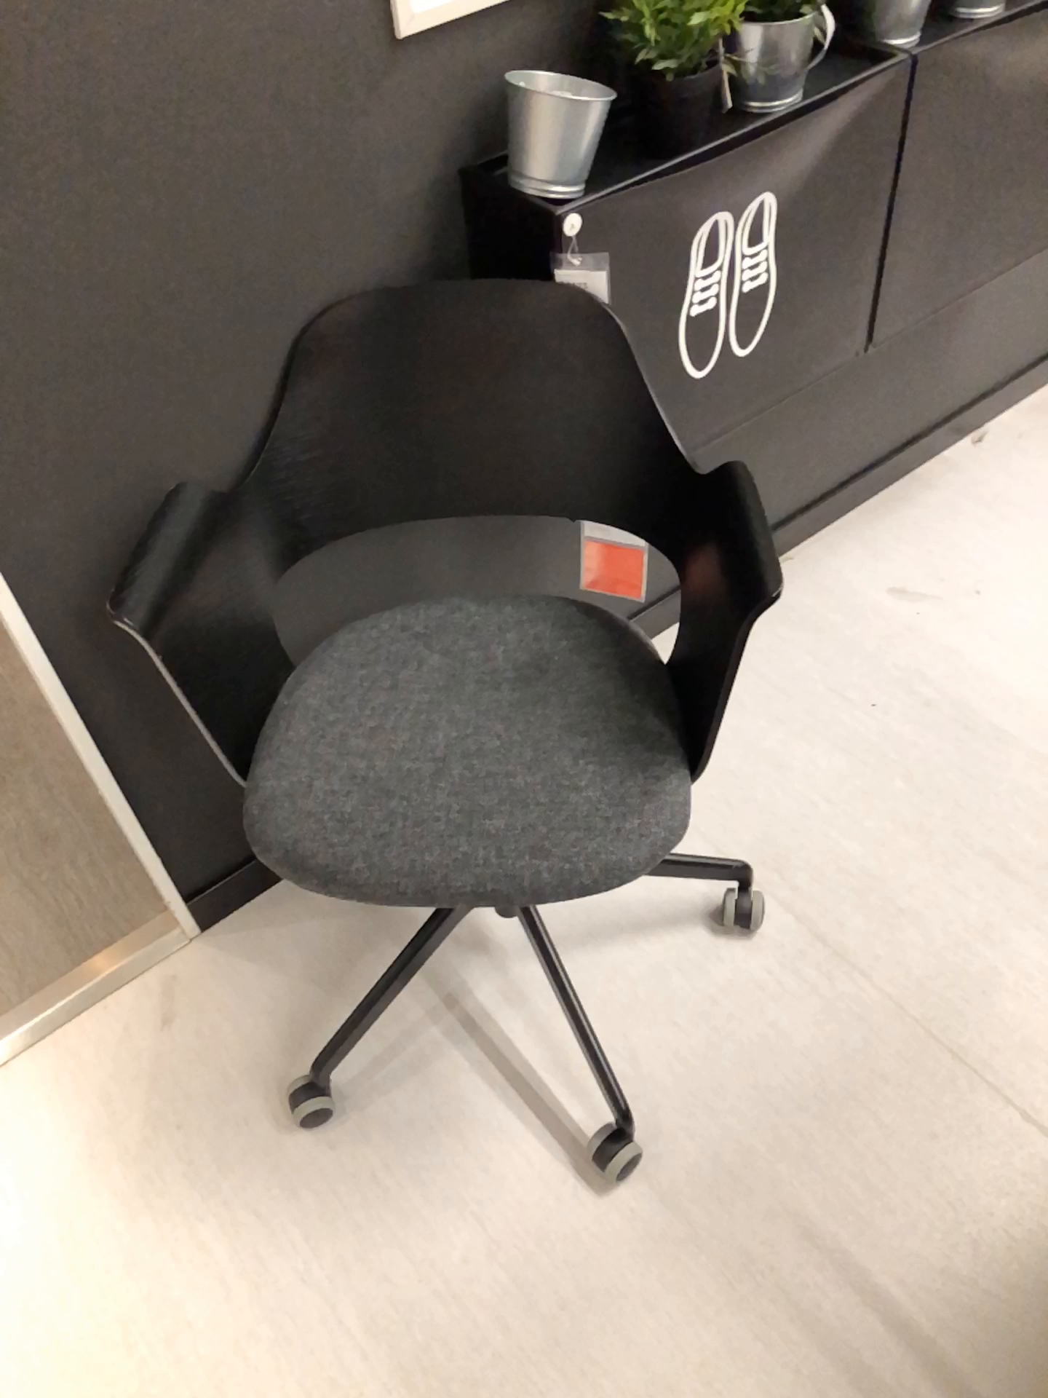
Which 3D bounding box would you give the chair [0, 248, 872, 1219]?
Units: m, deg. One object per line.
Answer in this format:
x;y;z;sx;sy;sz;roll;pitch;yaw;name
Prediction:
-0.057;0.050;1.145;0.660;0.755;0.563;4;48;10;chair
